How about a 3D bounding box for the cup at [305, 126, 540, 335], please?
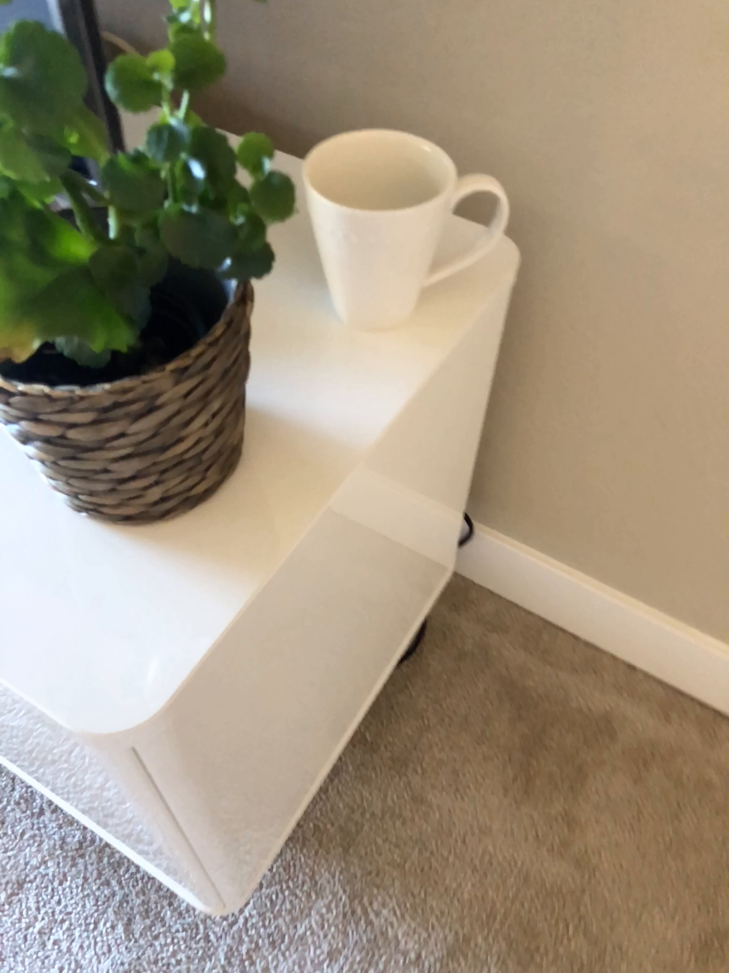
[{"bbox_3d":[0.030,-0.164,0.517,0.130,0.090,0.090,-3,52,-4],"label":"cup"}]
